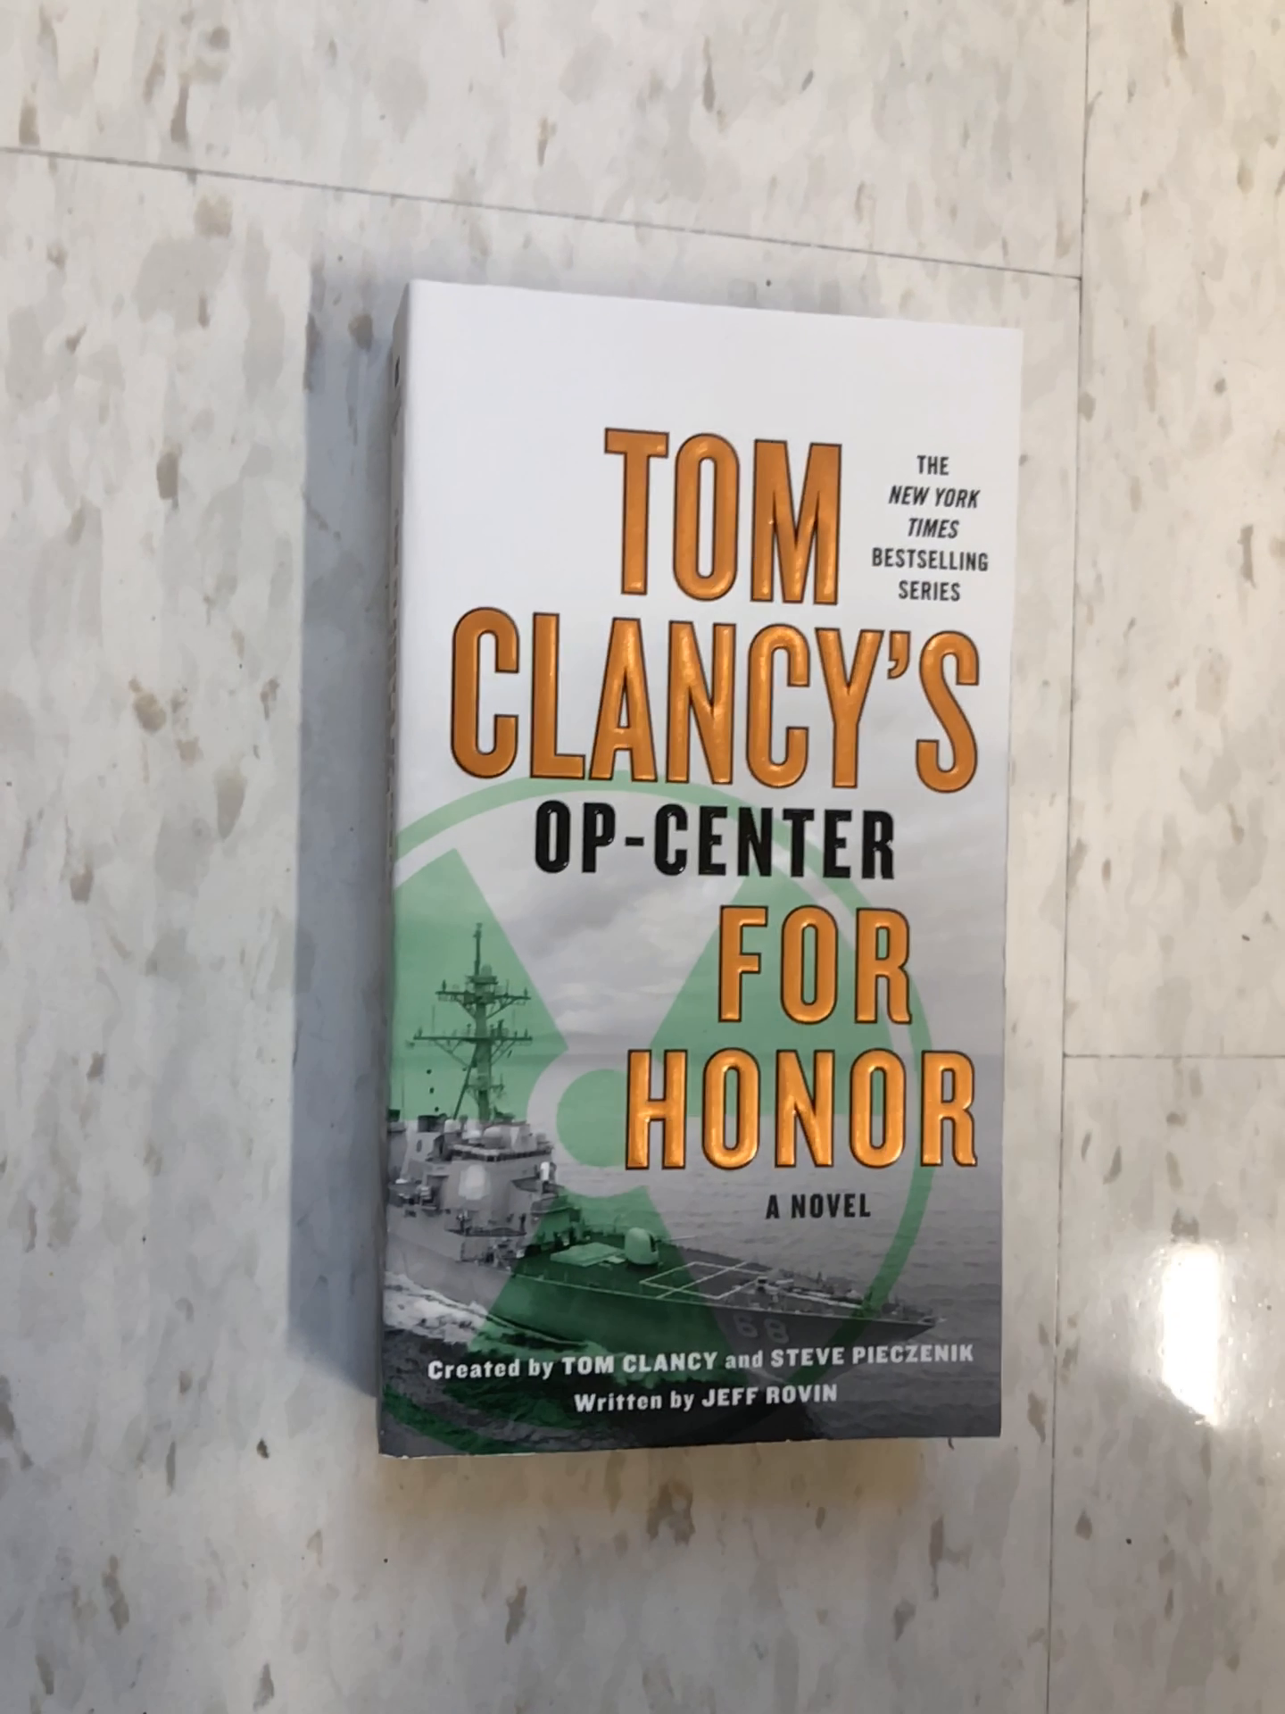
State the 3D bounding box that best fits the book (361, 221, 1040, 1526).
[{"bbox_3d":[0.007,0.002,0.254,0.110,0.050,0.200,0,89,-11],"label":"book"}]
